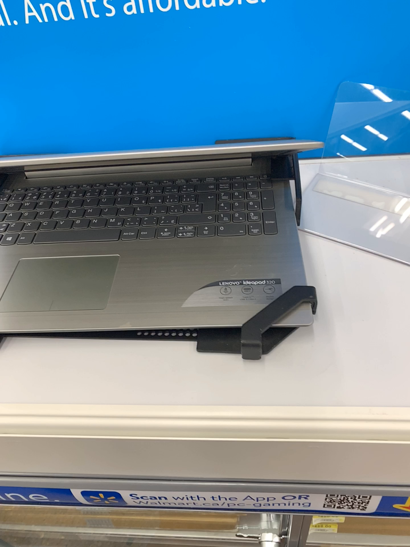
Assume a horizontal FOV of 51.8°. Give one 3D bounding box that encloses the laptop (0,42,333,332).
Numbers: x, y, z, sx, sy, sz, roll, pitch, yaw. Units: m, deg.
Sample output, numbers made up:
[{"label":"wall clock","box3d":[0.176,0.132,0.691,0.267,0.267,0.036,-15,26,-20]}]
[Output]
[{"label":"laptop","box3d":[-0.086,-0.079,0.352,0.324,0.110,0.220,-2,47,5]}]
